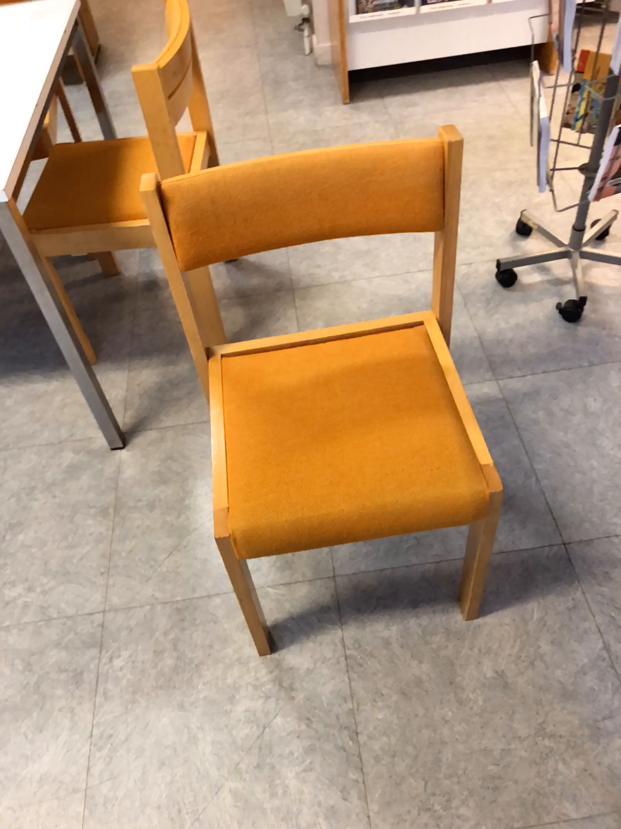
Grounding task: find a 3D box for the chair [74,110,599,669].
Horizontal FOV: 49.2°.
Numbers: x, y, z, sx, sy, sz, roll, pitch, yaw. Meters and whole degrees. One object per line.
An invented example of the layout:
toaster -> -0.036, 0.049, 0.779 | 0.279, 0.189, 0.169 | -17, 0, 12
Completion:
chair -> 0.030, -0.009, 1.135 | 0.550, 0.696, 0.523 | -9, 48, -1
